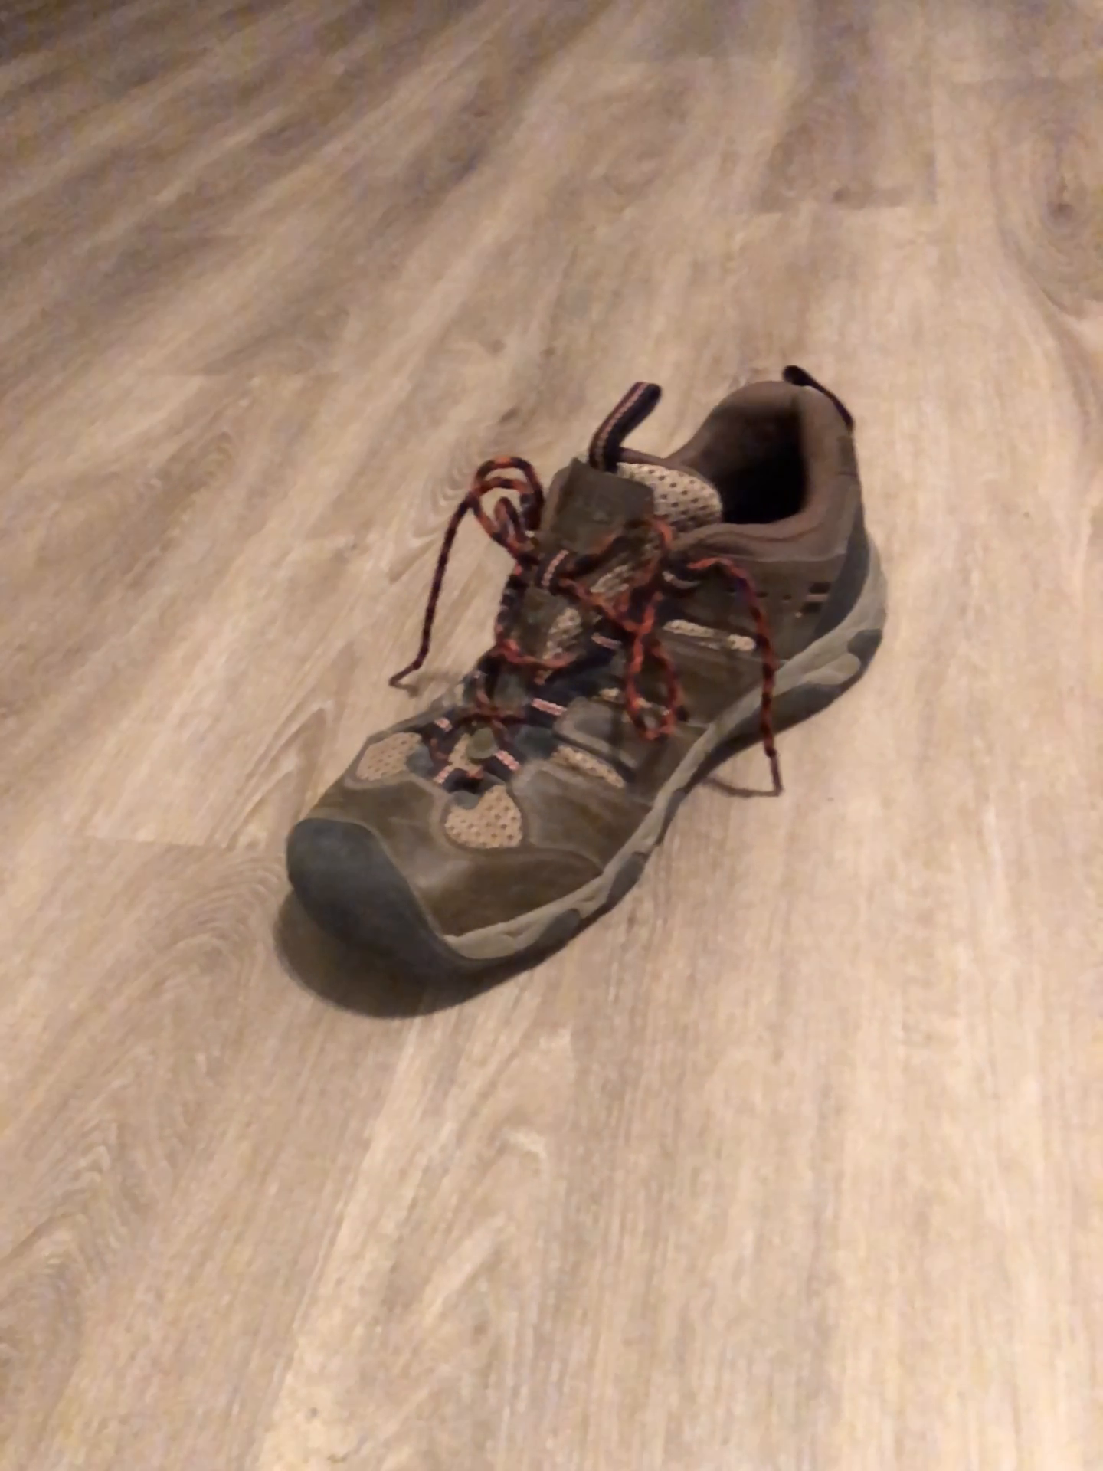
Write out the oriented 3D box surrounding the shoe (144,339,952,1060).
[{"bbox_3d":[0.016,-0.033,0.434,0.110,0.099,0.271,28,51,36],"label":"shoe"}]
